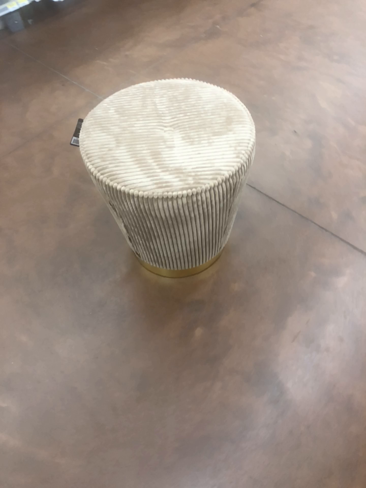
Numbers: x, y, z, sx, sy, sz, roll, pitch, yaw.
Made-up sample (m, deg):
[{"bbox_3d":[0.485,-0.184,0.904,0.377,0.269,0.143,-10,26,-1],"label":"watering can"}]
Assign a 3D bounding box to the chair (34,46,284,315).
[{"bbox_3d":[-0.033,-0.177,1.139,0.420,0.479,0.451,23,58,18],"label":"chair"}]
